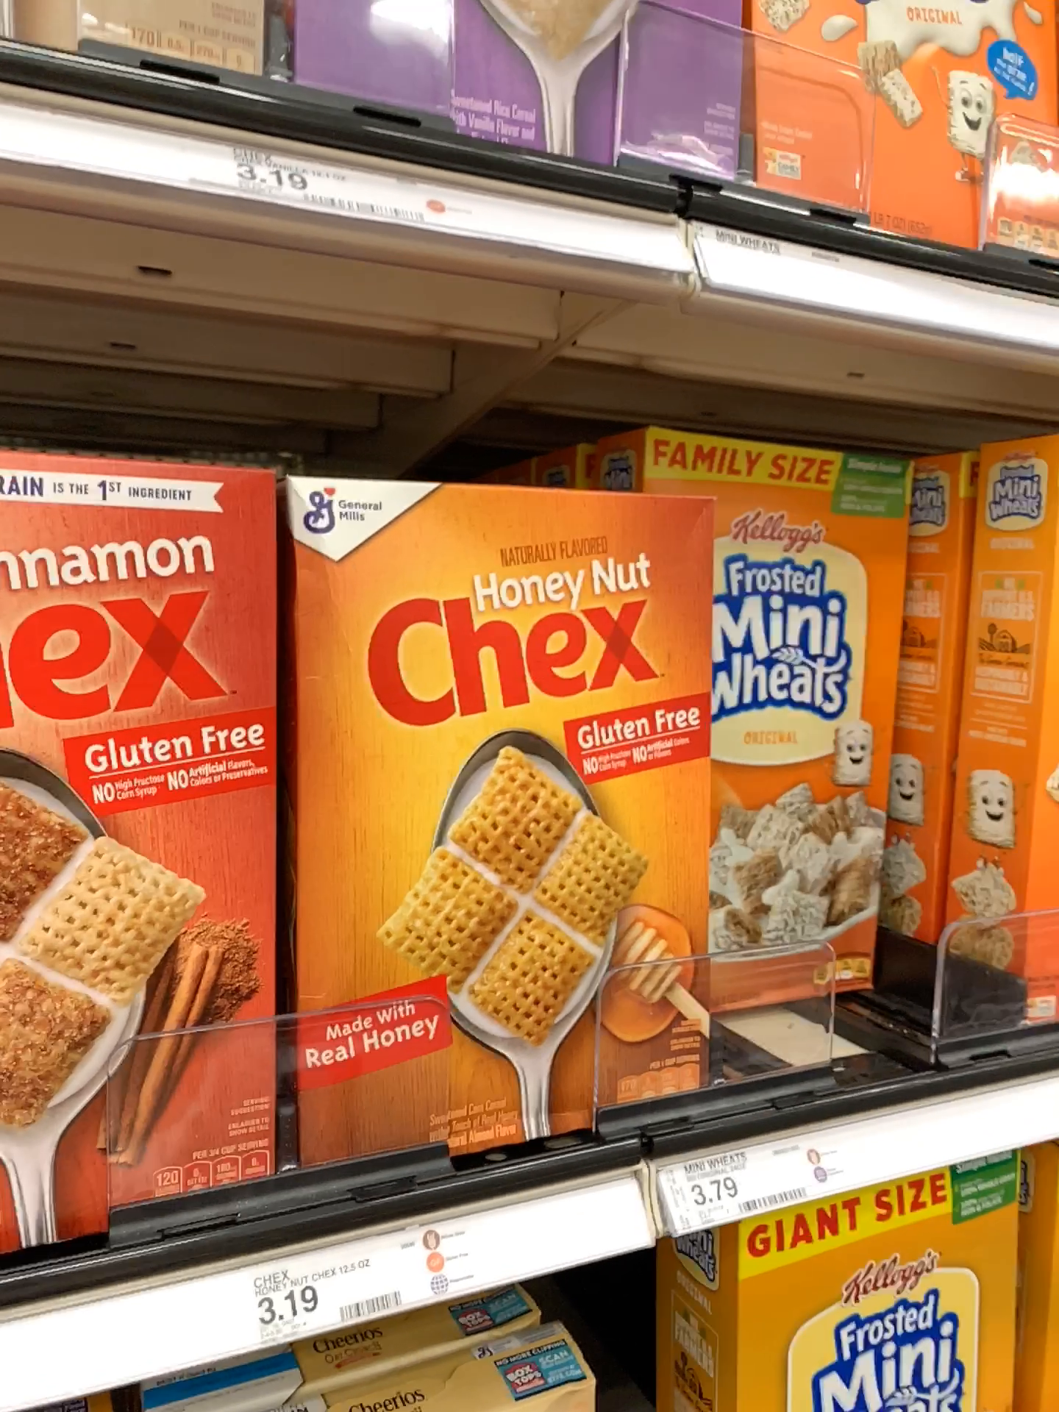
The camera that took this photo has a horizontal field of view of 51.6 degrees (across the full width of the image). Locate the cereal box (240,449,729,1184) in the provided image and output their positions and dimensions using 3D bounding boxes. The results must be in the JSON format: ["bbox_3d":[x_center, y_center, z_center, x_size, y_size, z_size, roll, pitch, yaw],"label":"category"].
[{"bbox_3d":[-0.019,0.041,0.482,0.200,0.280,0.060,-1,6,-27],"label":"cereal box"}]
